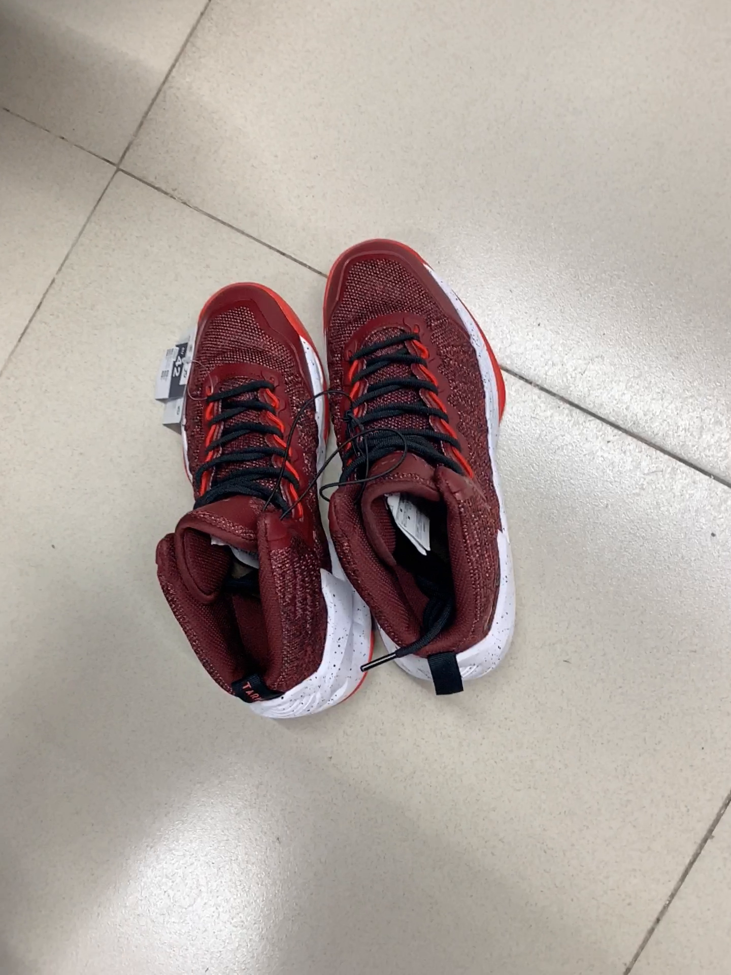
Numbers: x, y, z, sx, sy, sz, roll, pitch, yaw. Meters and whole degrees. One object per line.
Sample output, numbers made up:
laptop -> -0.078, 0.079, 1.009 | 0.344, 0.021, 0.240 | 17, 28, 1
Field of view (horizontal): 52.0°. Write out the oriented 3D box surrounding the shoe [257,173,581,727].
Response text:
shoe -> 0.034, -0.016, 0.441 | 0.120, 0.110, 0.270 | -12, 83, 12

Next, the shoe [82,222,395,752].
shoe -> -0.075, 0.003, 0.474 | 0.120, 0.110, 0.280 | -12, 83, 12
